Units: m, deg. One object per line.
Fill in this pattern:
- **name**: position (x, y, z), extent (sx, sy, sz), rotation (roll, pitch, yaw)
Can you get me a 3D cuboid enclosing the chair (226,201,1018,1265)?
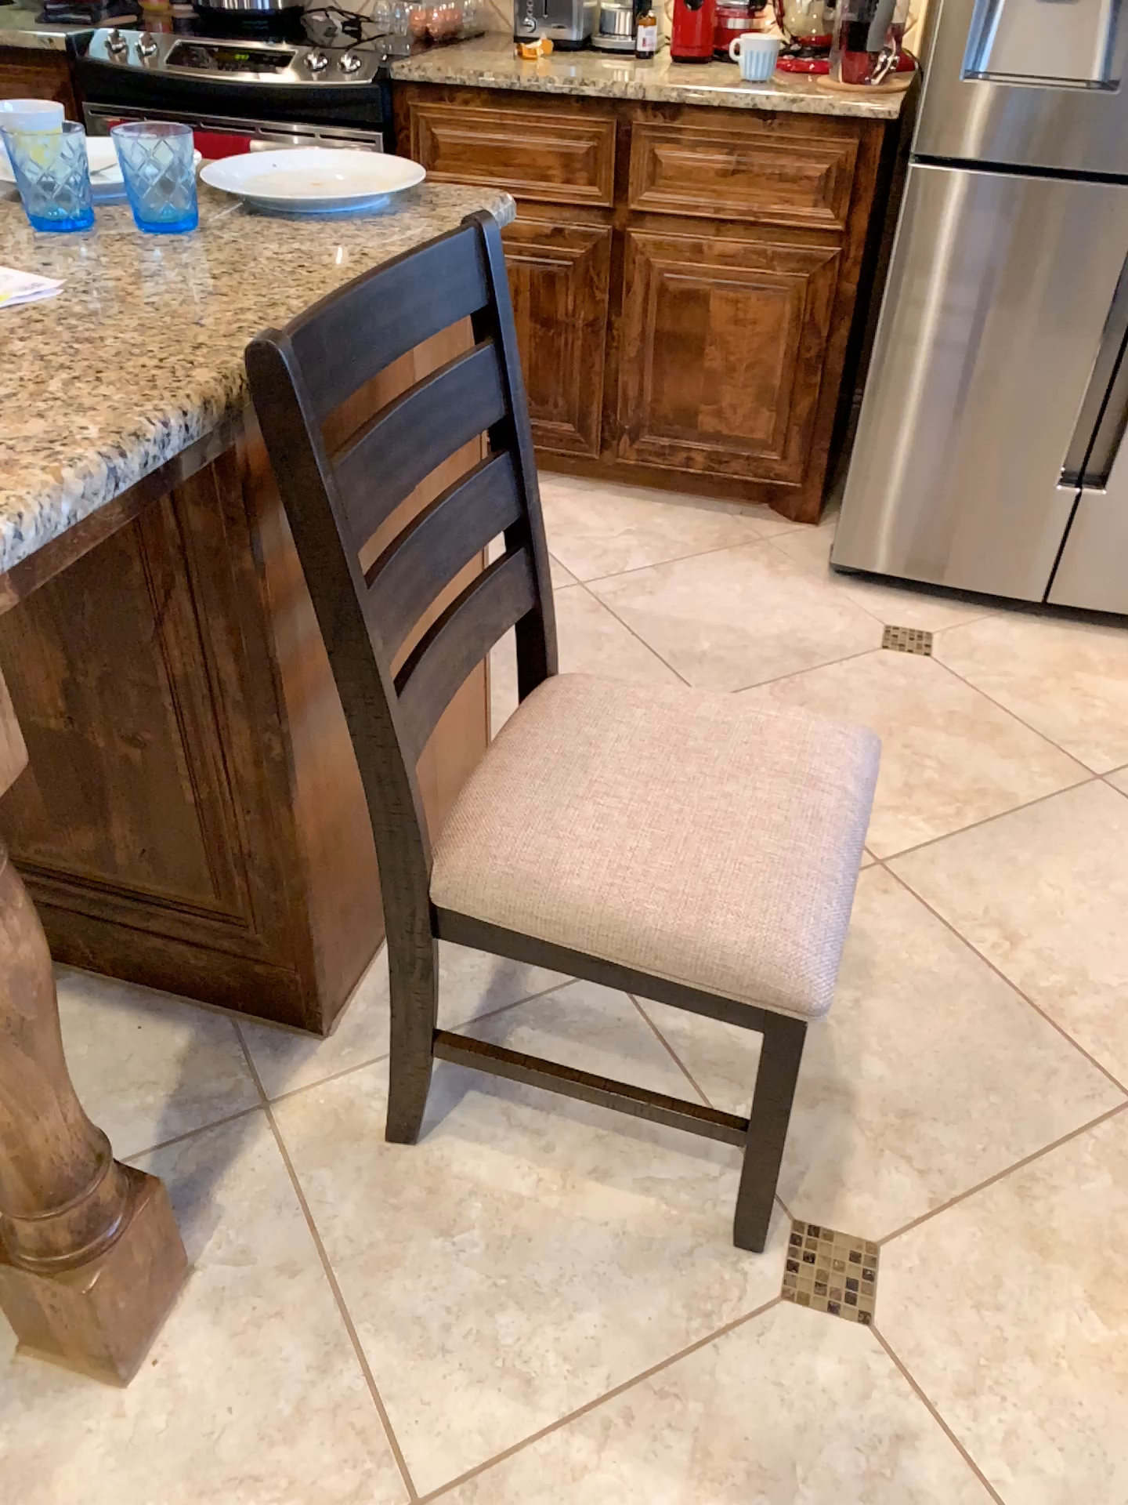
- **chair**: position (0.074, -0.001, 1.190), extent (0.524, 0.909, 0.469), rotation (12, 39, 13)
